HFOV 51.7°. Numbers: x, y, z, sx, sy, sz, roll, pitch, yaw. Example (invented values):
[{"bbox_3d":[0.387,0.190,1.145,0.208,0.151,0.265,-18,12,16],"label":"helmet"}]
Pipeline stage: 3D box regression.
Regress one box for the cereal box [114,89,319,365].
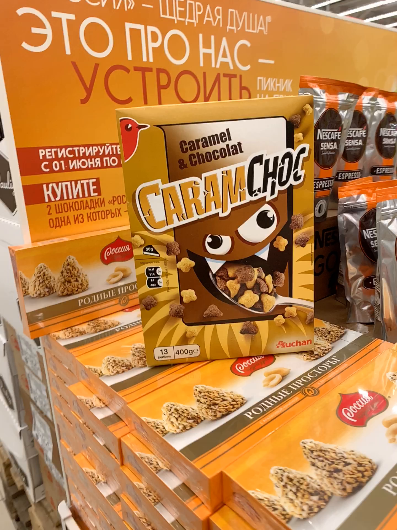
[{"bbox_3d":[0.027,-0.037,0.462,0.200,0.279,0.060,-5,16,-2],"label":"cereal box"}]
